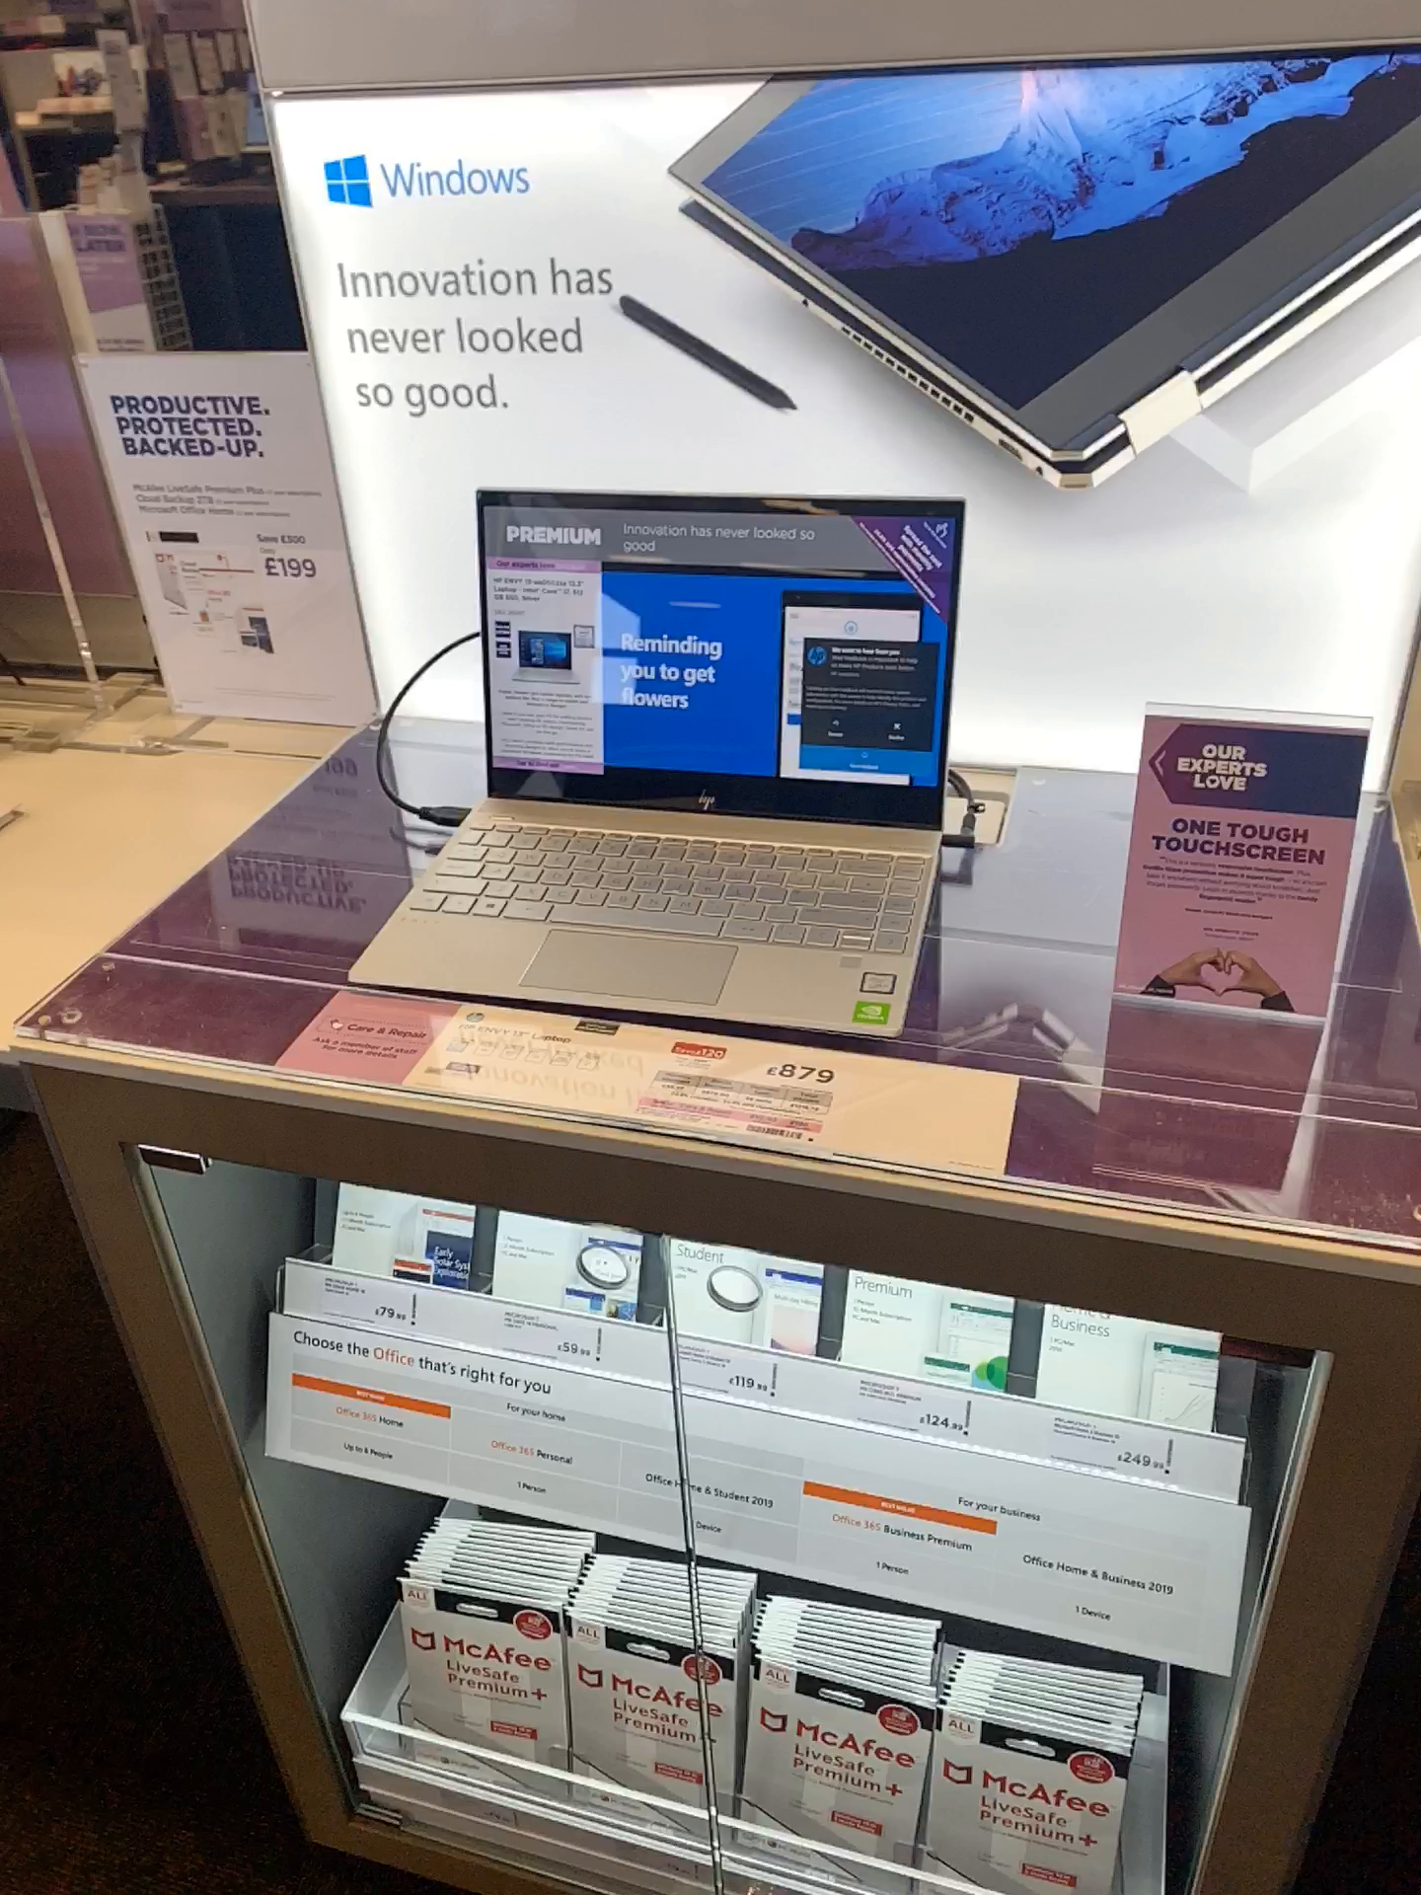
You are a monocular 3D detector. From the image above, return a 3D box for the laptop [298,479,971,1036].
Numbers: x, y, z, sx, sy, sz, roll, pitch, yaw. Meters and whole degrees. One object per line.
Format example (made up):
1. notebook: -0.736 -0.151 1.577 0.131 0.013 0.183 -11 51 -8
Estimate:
1. laptop: -0.019 -0.123 0.805 0.295 0.181 0.262 6 34 13
